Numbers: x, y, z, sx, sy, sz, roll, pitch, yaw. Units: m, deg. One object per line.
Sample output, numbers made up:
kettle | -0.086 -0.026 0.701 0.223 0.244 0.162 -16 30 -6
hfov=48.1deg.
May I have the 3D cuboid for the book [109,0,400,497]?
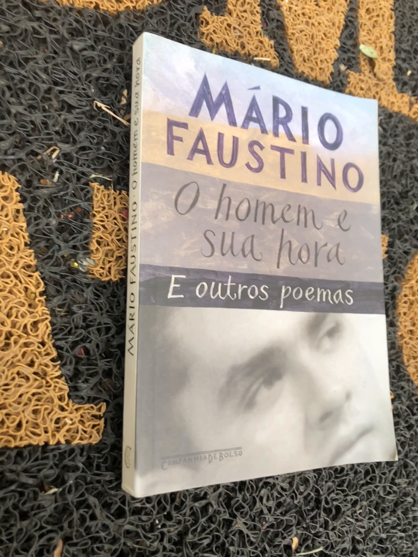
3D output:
book | 0.025 -0.012 0.198 0.125 0.020 0.174 4 82 -27
